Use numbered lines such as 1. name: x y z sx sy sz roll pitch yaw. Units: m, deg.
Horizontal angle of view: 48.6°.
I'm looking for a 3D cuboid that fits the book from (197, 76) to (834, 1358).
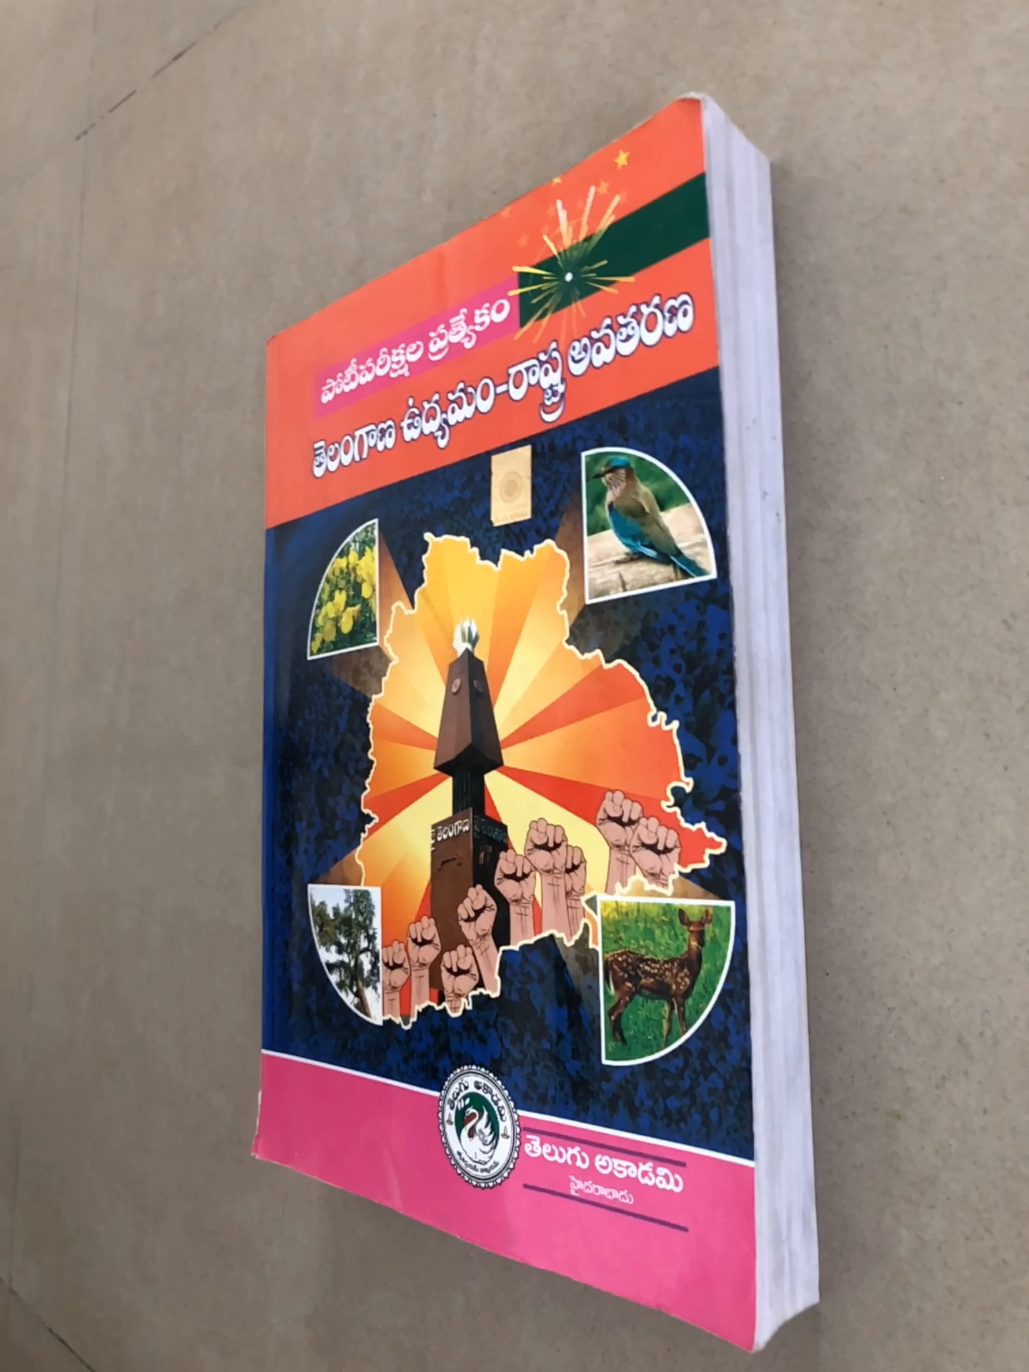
1. book: -0.018 0.008 0.321 0.203 0.040 0.265 -8 79 46
